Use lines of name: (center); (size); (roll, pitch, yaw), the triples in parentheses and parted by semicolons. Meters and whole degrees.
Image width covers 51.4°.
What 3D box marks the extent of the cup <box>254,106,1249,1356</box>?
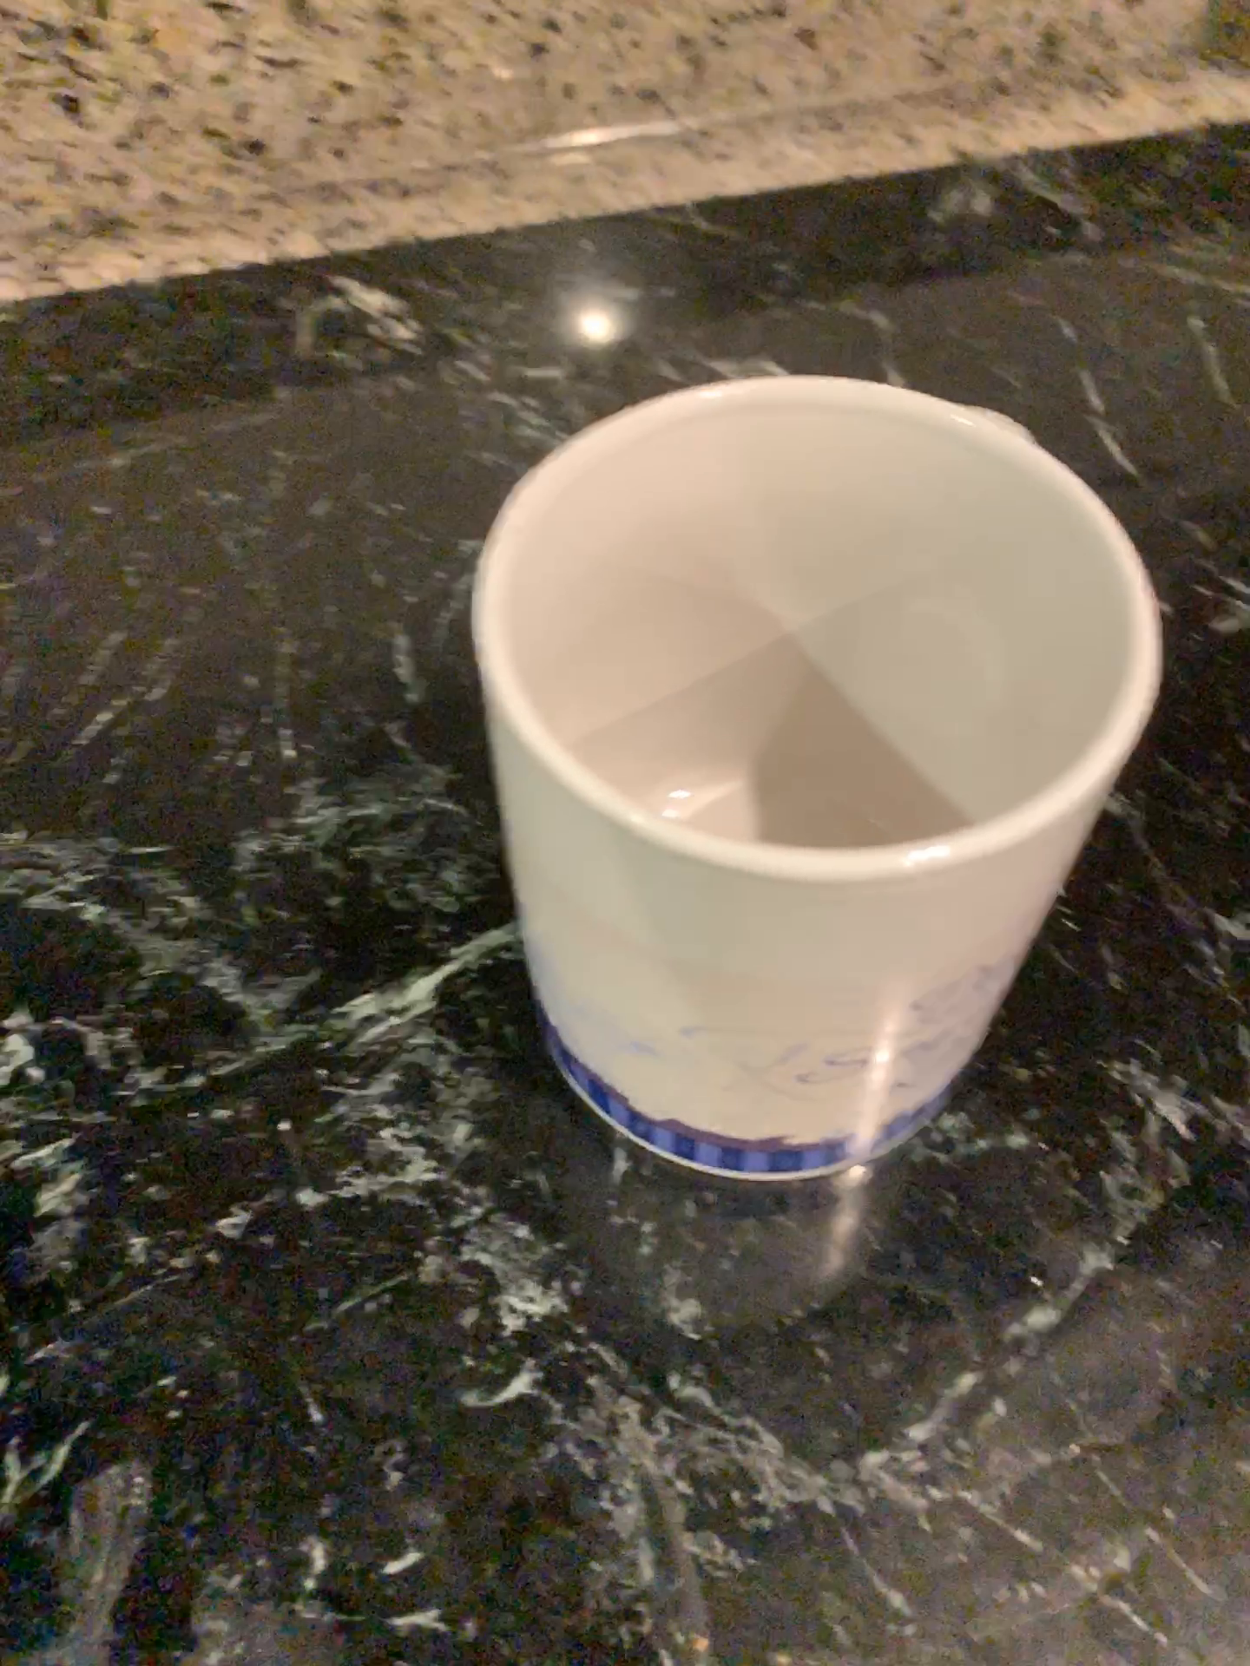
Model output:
cup: (0.035, -0.017, 0.194); (0.090, 0.099, 0.131); (27, 60, 18)
